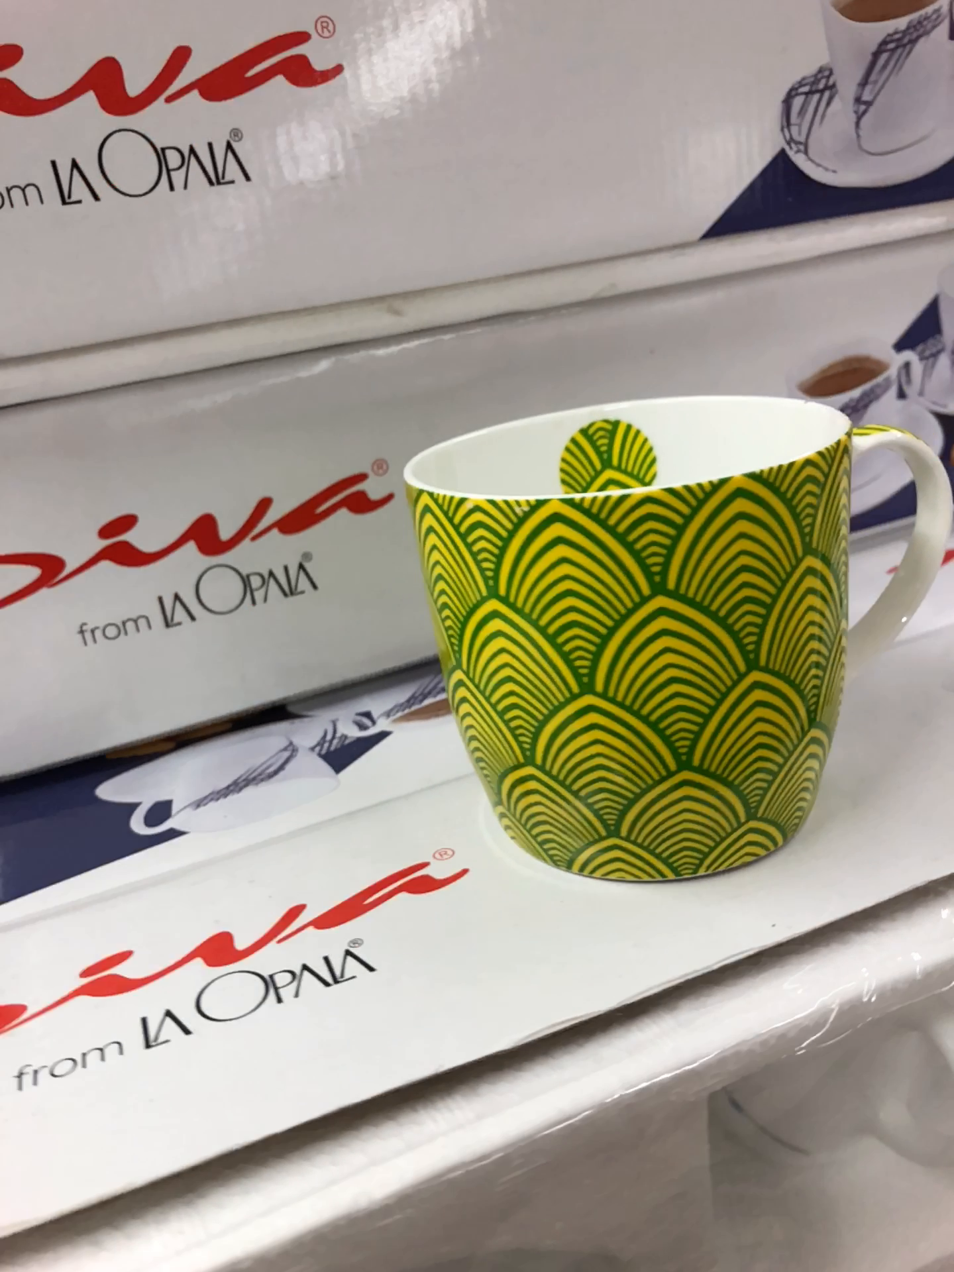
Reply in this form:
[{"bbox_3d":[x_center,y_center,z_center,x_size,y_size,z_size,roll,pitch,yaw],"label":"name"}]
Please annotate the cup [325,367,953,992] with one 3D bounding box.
[{"bbox_3d":[0.045,-0.005,0.231,0.120,0.080,0.090,-17,22,-22],"label":"cup"}]
